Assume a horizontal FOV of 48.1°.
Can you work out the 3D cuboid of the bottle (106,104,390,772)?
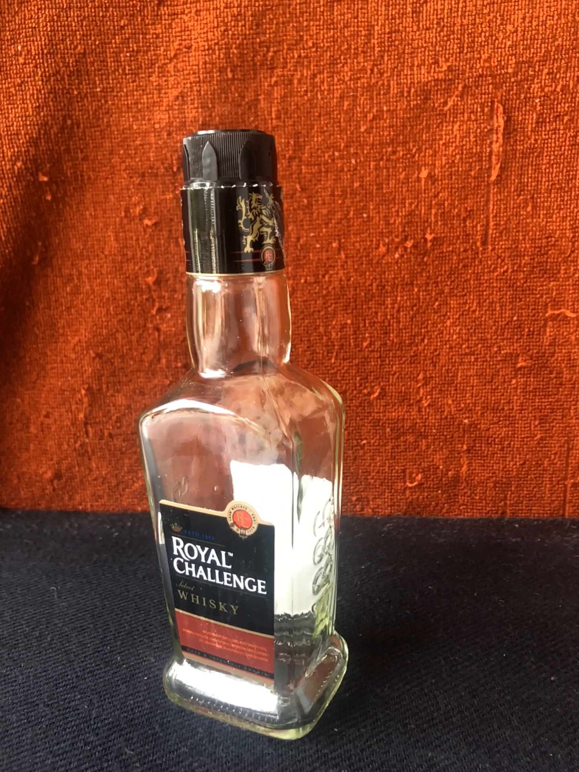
[{"bbox_3d":[-0.009,0.020,0.201,0.060,0.189,0.050,7,17,23],"label":"bottle"}]
